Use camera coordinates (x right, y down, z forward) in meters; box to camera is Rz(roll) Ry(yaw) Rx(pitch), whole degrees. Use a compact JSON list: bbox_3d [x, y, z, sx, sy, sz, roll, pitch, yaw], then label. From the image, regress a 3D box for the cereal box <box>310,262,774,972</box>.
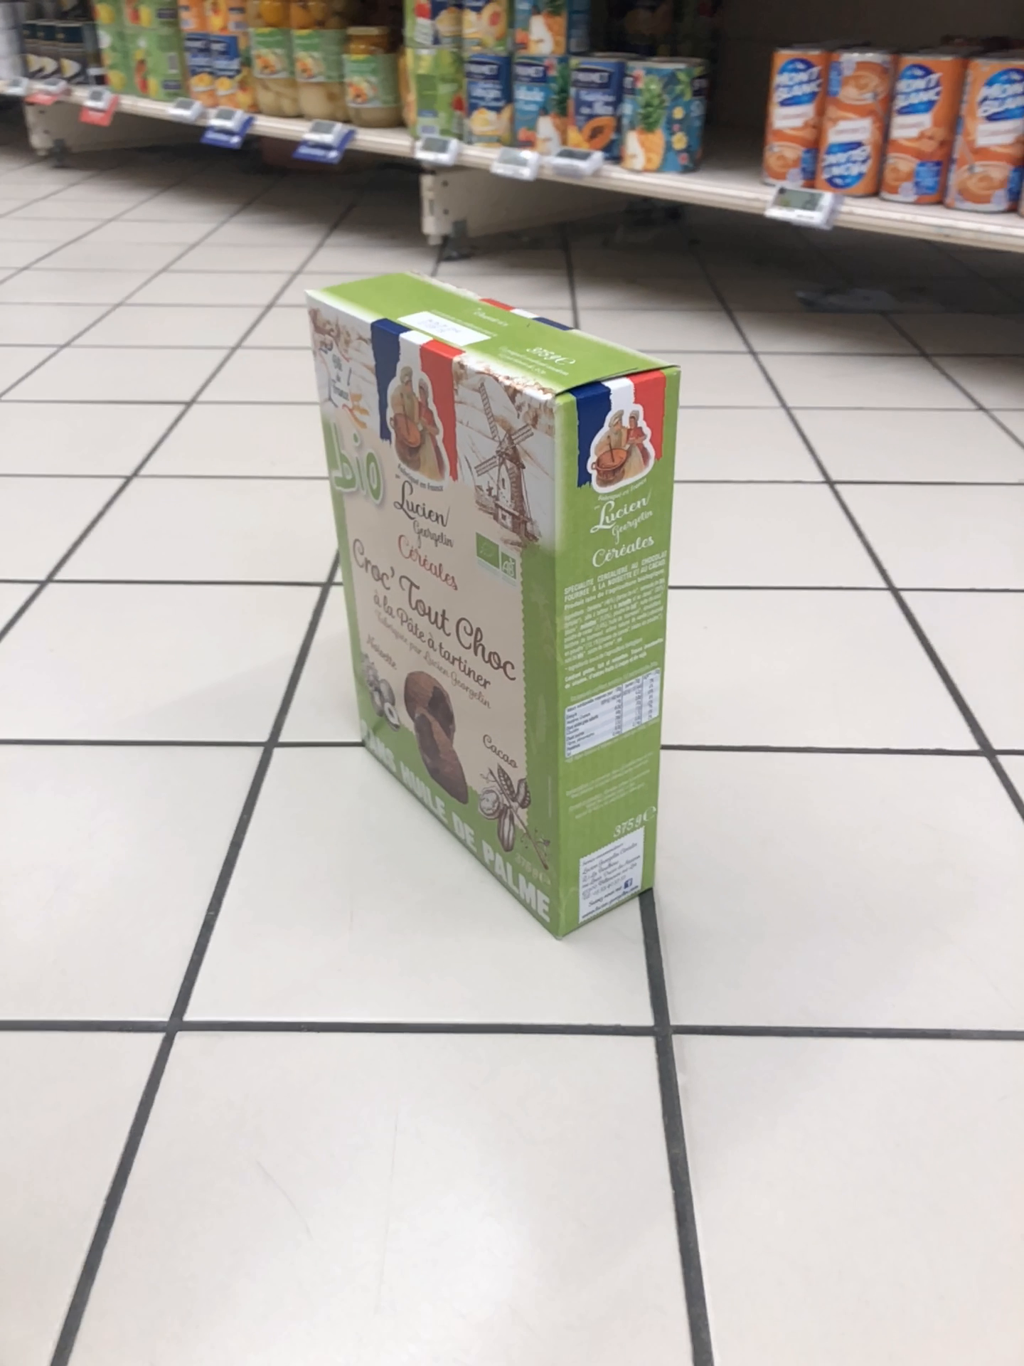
[{"bbox_3d":[-0.001,-0.038,0.495,0.080,0.239,0.200,-18,36,-28],"label":"cereal box"}]
